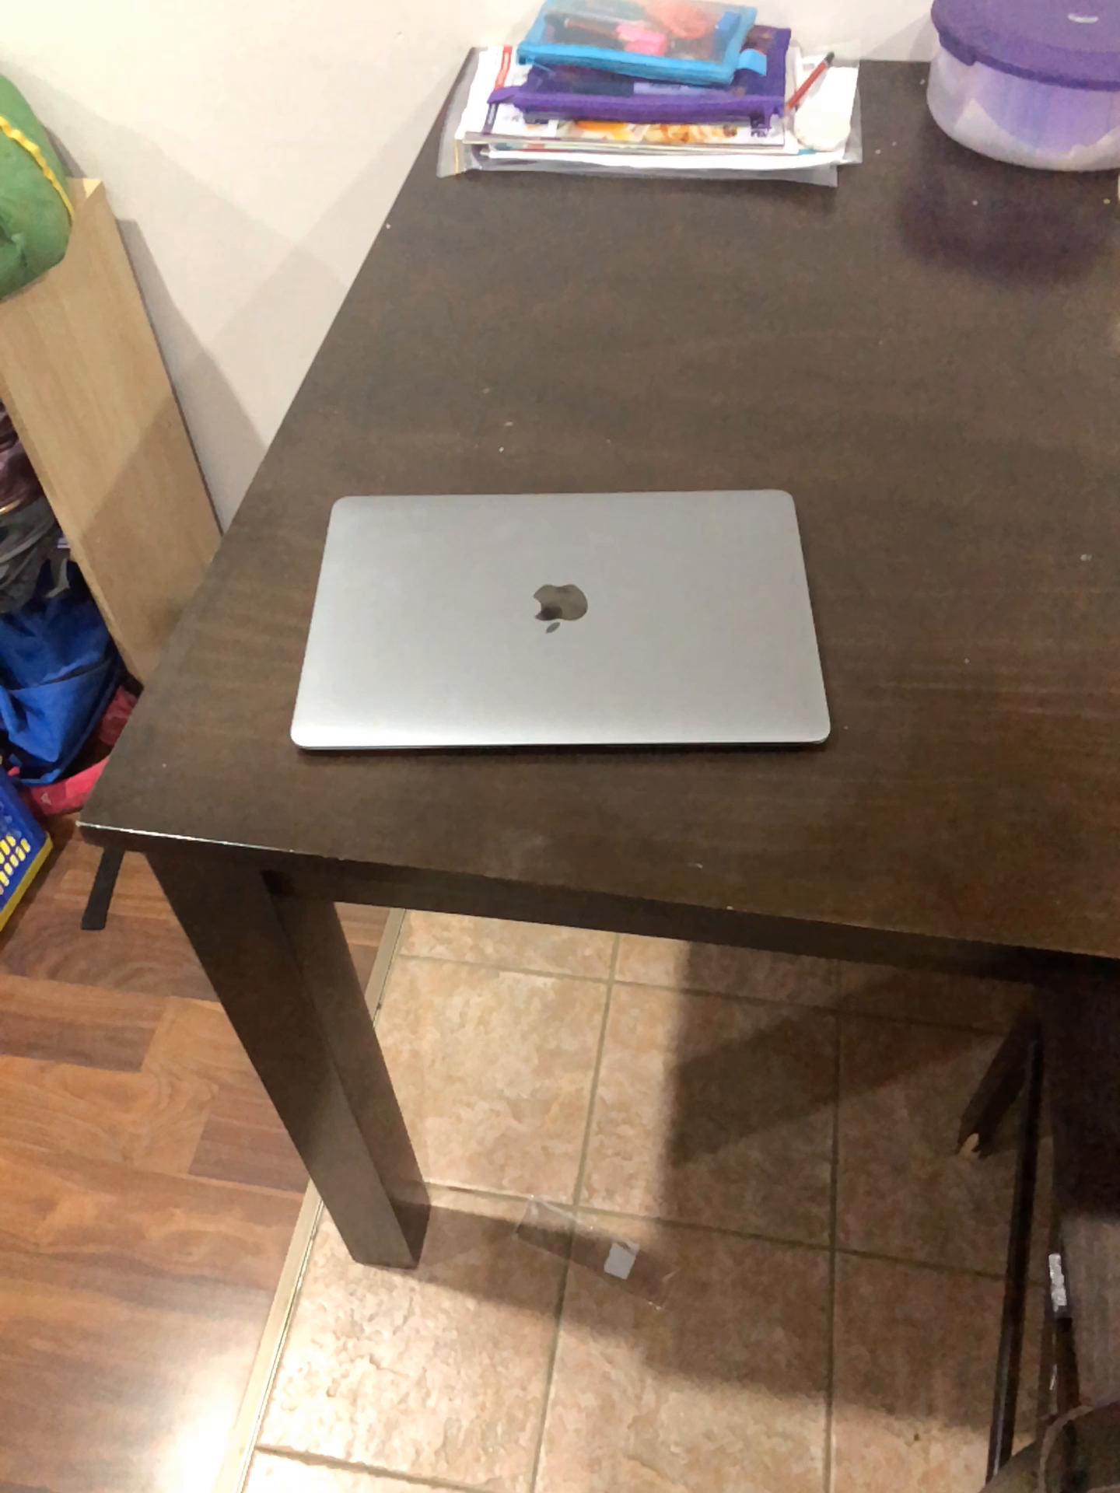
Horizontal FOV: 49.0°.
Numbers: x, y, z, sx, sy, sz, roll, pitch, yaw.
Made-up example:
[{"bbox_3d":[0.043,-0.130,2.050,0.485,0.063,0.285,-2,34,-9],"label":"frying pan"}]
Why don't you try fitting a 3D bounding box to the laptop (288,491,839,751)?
[{"bbox_3d":[0.002,-0.076,0.677,0.275,0.002,0.196,0,51,-1],"label":"laptop"}]
